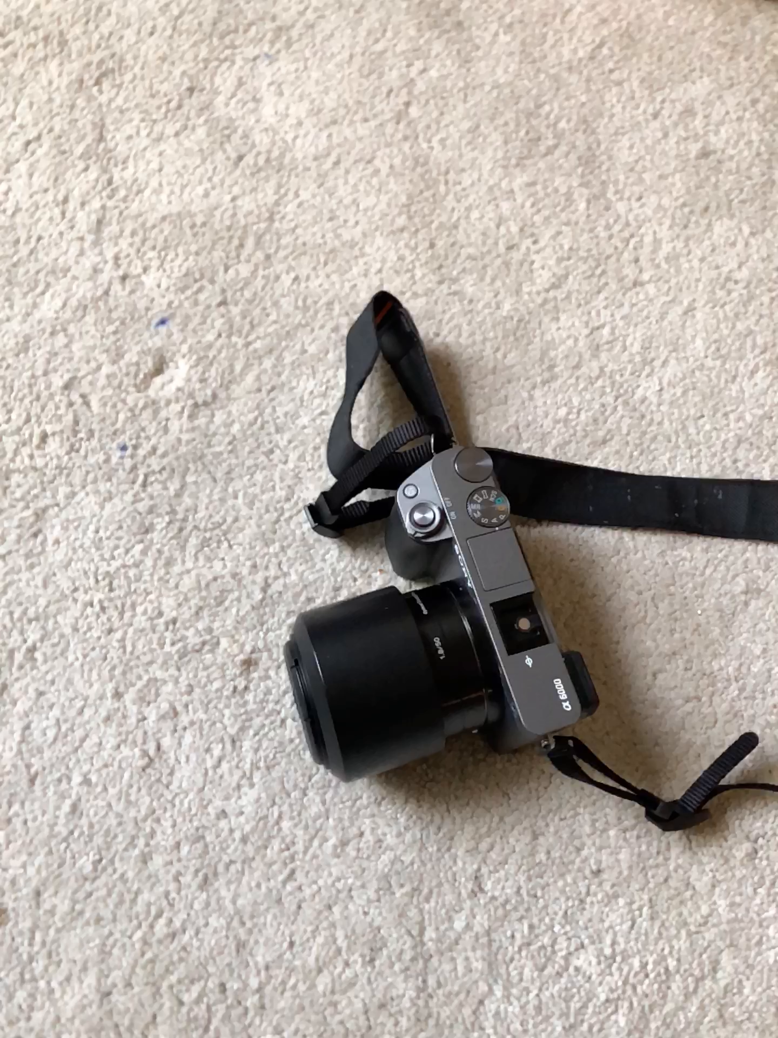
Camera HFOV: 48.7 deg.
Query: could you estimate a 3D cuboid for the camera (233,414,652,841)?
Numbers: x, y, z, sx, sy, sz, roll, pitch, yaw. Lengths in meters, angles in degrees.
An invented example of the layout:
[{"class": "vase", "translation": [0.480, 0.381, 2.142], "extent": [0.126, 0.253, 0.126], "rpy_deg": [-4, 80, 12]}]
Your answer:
[{"class": "camera", "translation": [0.013, 0.045, 0.355], "extent": [0.120, 0.080, 0.130], "rpy_deg": [-15, 70, -12]}]
